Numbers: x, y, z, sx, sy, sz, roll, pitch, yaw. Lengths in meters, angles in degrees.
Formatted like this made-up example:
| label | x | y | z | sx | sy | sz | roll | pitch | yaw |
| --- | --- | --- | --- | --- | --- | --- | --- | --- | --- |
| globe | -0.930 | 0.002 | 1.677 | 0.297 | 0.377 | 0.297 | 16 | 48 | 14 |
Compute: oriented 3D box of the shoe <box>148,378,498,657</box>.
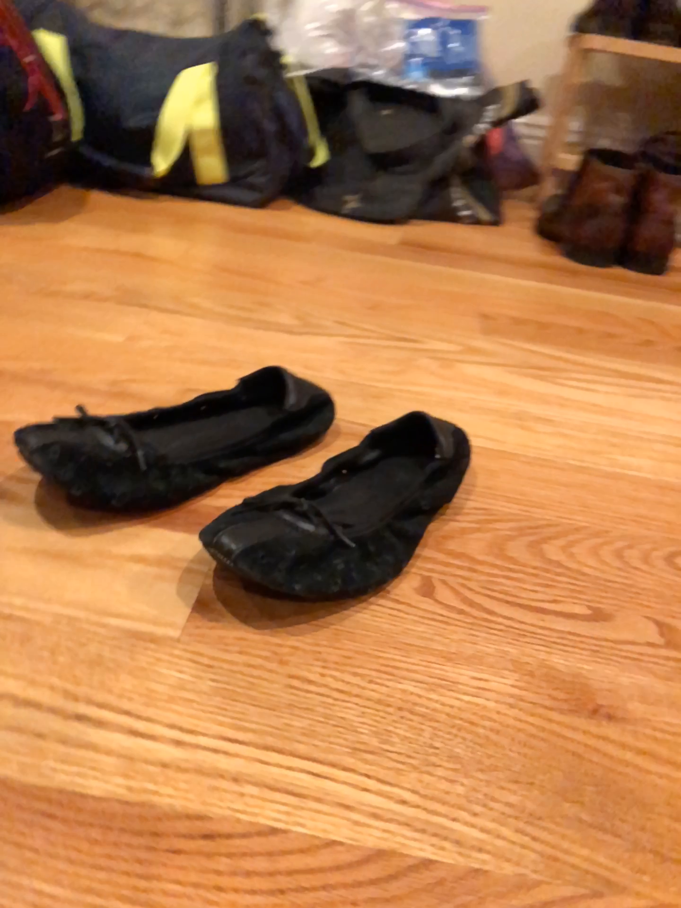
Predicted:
| label | x | y | z | sx | sy | sz | roll | pitch | yaw |
| --- | --- | --- | --- | --- | --- | --- | --- | --- | --- |
| shoe | 0.002 | 0.020 | 0.444 | 0.093 | 0.046 | 0.221 | 24 | 32 | 26 |

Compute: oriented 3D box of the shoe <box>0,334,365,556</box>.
| label | x | y | z | sx | sy | sz | roll | pitch | yaw |
| --- | --- | --- | --- | --- | --- | --- | --- | --- | --- |
| shoe | -0.097 | -0.019 | 0.487 | 0.100 | 0.050 | 0.221 | 30 | 35 | 33 |
